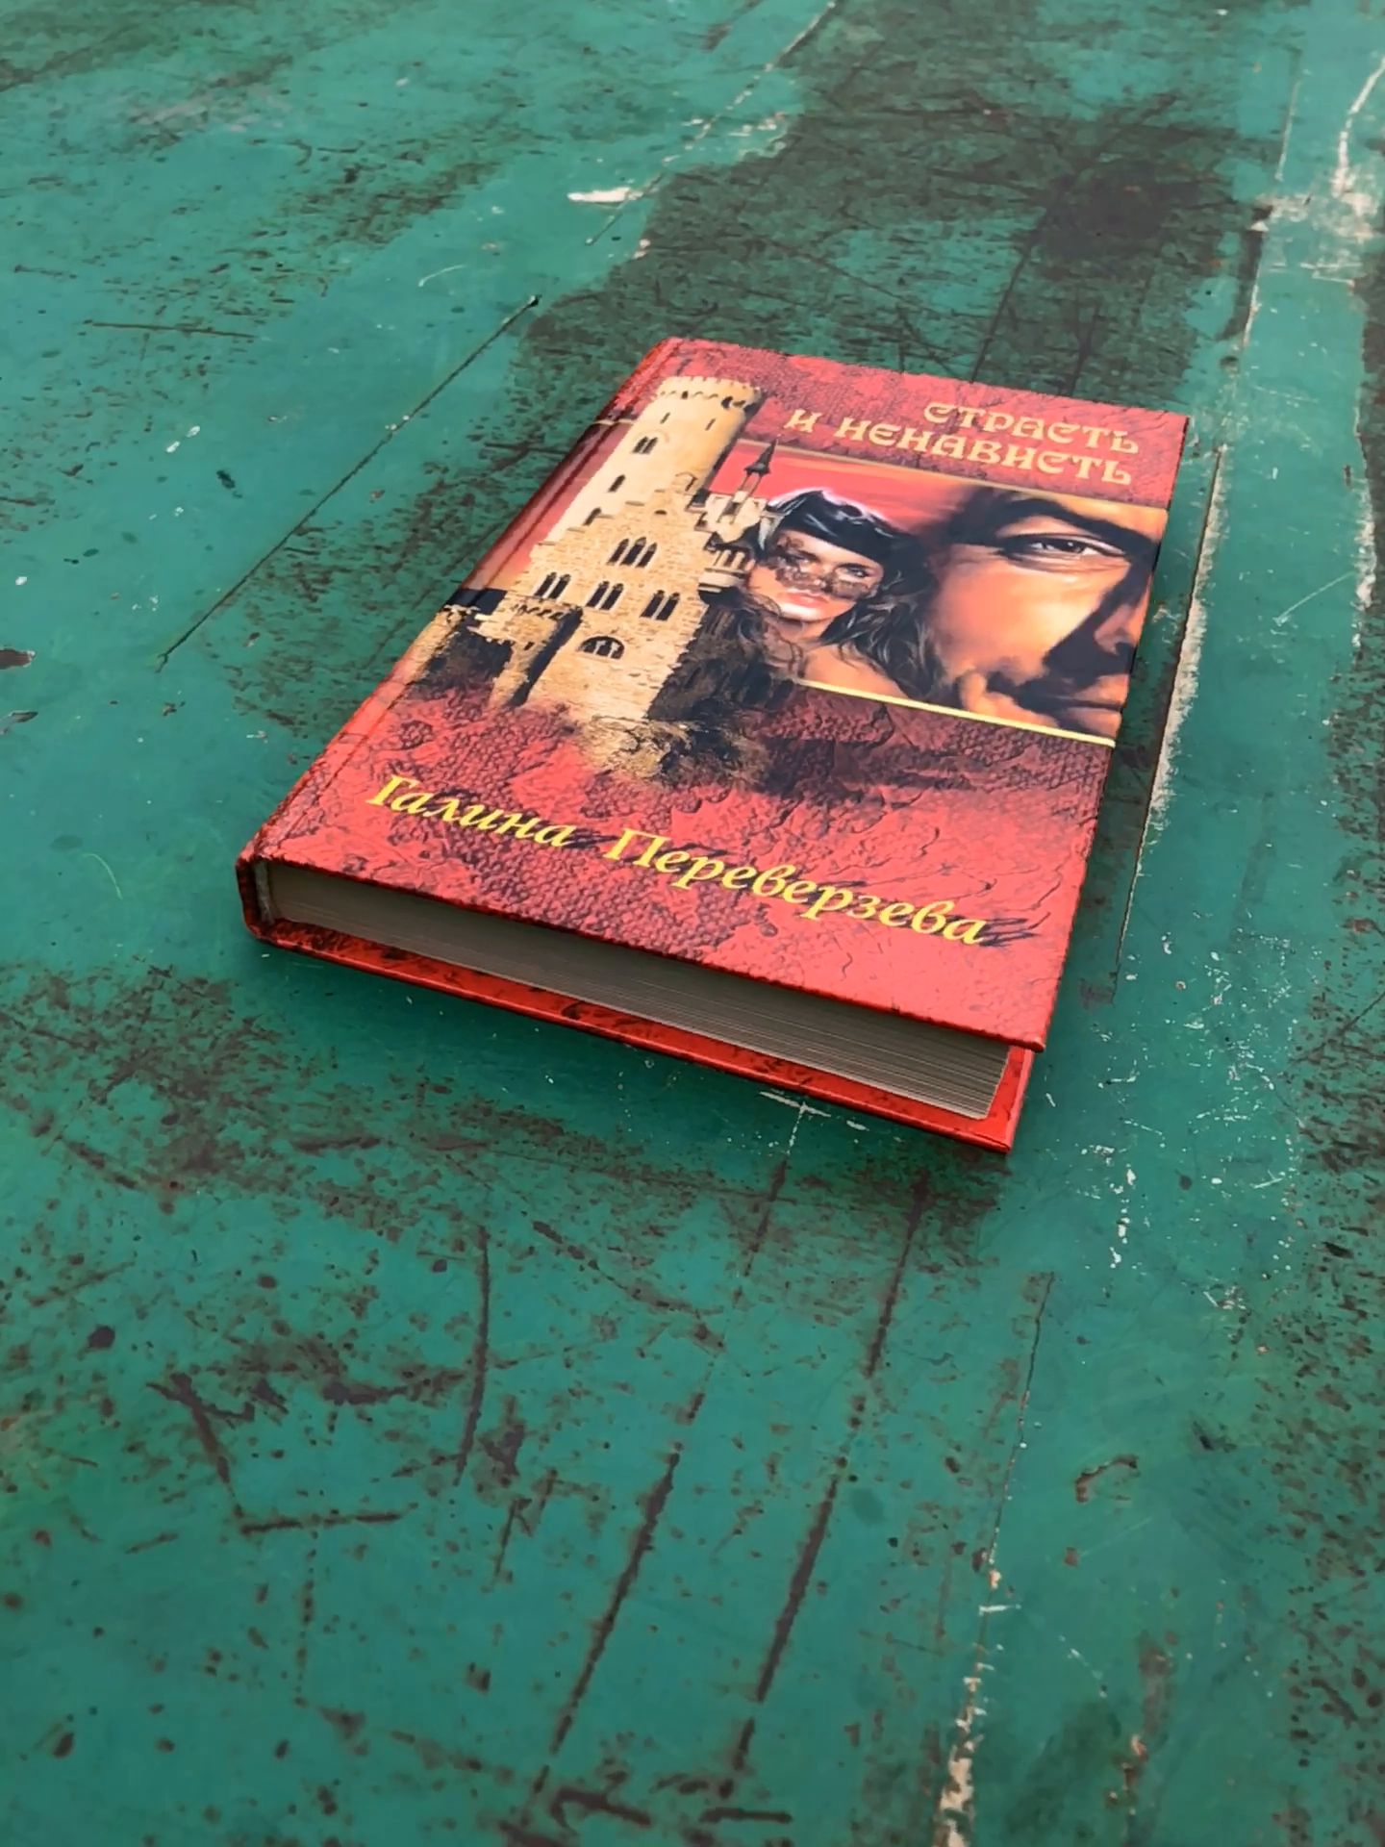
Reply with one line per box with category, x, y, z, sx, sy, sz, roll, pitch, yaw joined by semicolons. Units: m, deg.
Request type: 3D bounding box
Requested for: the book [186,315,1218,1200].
book;0.020;-0.056;0.312;0.144;0.030;0.211;15;46;12
